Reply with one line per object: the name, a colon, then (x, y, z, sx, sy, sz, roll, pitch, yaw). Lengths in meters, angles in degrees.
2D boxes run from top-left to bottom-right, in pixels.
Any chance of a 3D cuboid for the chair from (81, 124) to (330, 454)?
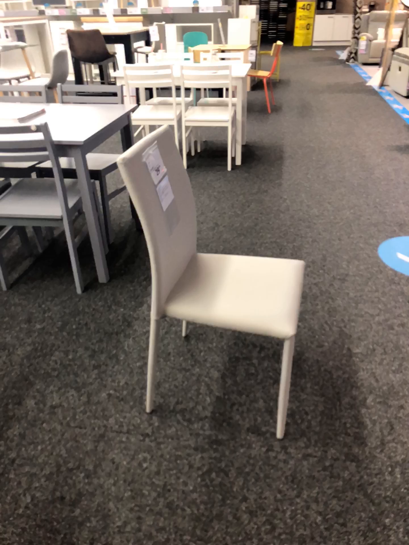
chair: (0.051, 0.028, 1.357, 0.540, 0.815, 0.503, 5, 31, 11)
